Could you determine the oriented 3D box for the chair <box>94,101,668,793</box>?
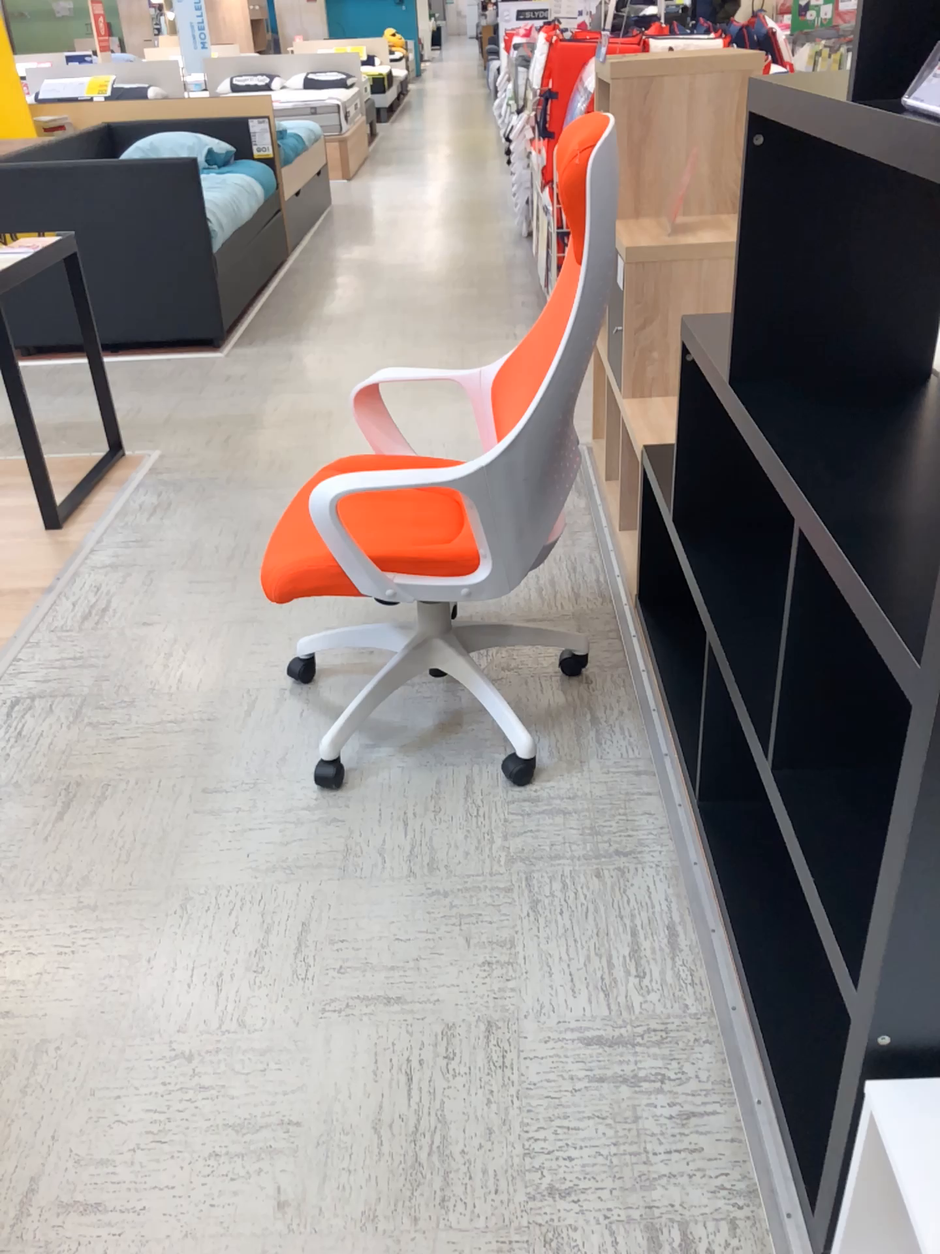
[{"bbox_3d":[-0.072,-0.333,1.882,0.750,1.054,0.684,-1,30,5],"label":"chair"}]
